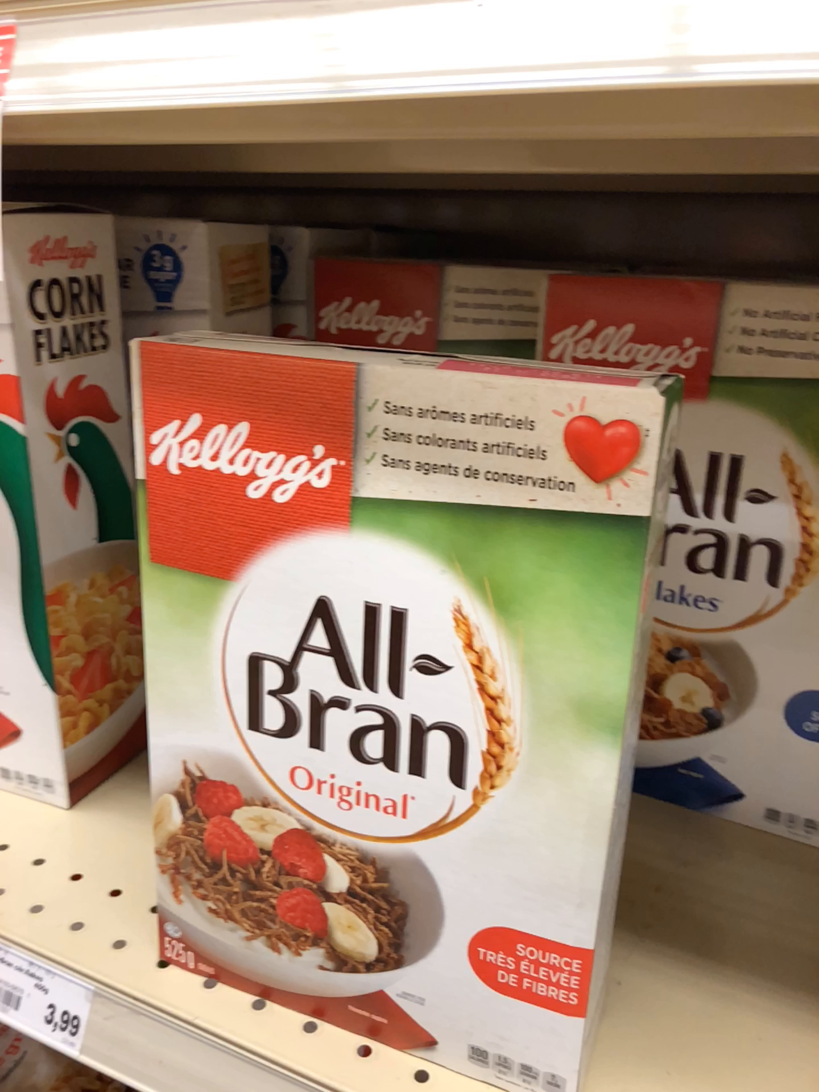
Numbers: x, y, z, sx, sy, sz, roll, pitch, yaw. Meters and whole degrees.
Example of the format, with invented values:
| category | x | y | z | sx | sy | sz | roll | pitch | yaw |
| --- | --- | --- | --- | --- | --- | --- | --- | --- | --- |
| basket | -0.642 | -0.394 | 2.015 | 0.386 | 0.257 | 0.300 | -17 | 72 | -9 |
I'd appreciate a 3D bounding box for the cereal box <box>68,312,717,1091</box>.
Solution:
| category | x | y | z | sx | sy | sz | roll | pitch | yaw |
| --- | --- | --- | --- | --- | --- | --- | --- | --- | --- |
| cereal box | -0.013 | 0.051 | 0.309 | 0.190 | 0.239 | 0.050 | 9 | 20 | 21 |
